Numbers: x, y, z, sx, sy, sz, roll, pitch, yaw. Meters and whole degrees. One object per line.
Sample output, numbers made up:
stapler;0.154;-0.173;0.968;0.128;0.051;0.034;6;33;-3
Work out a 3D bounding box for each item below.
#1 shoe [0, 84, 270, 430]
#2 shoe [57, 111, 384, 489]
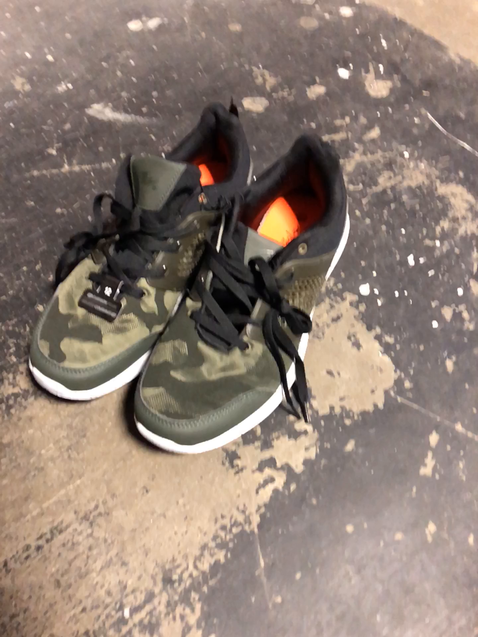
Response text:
shoe;-0.094;-0.068;0.491;0.110;0.119;0.301;26;62;16
shoe;0.002;-0.023;0.435;0.110;0.129;0.271;26;62;16
